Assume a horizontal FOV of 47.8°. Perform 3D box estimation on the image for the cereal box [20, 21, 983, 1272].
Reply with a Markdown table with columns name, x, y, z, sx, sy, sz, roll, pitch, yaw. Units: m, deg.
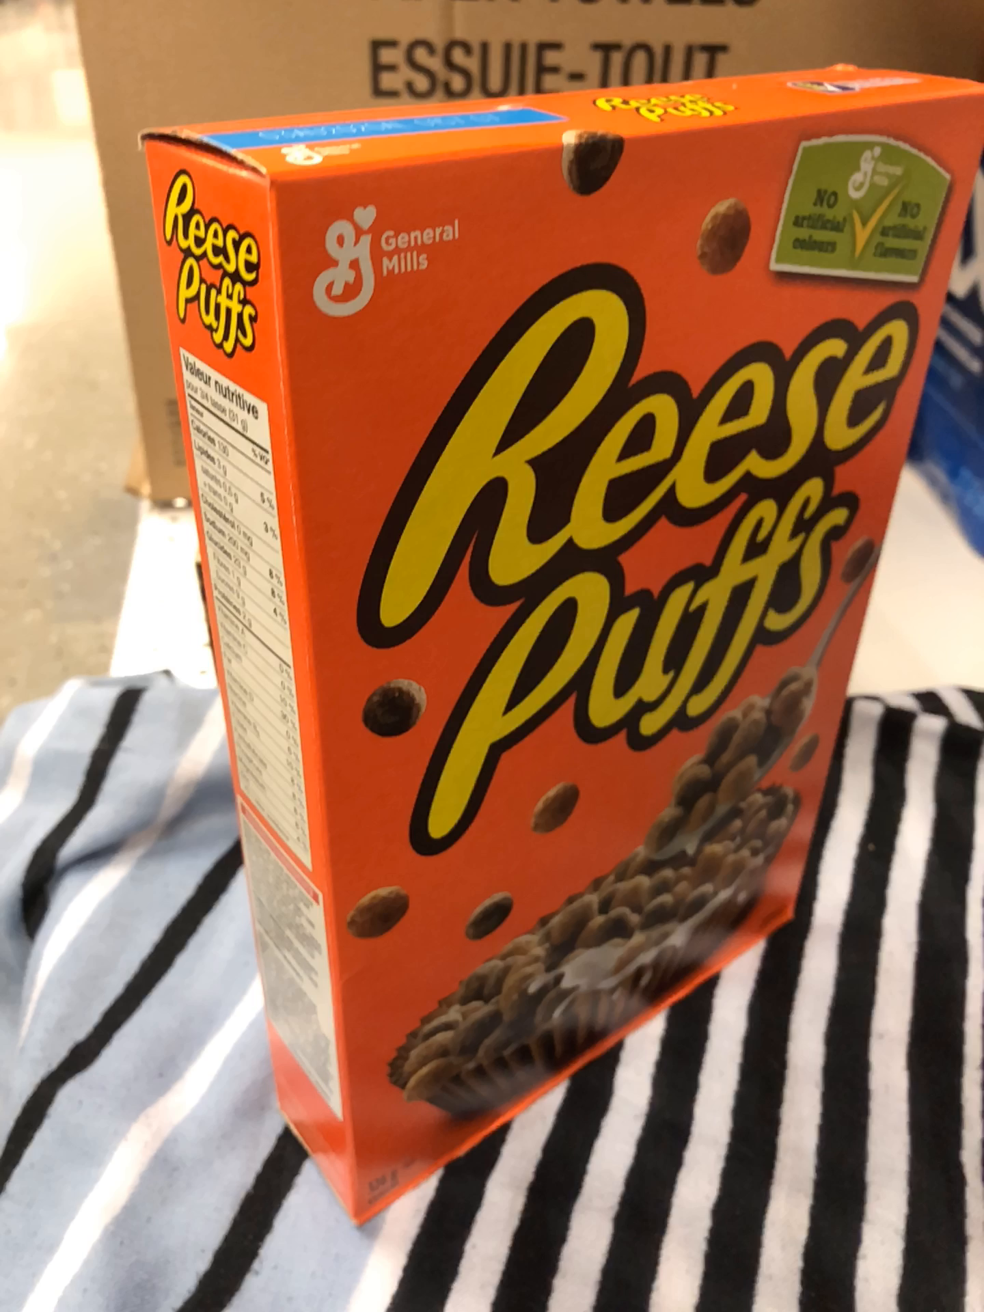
| name | x | y | z | sx | sy | sz | roll | pitch | yaw |
| --- | --- | --- | --- | --- | --- | --- | --- | --- | --- |
| cereal box | 0.025 | 0.001 | 0.278 | 0.210 | 0.269 | 0.040 | -23 | 40 | -32 |
